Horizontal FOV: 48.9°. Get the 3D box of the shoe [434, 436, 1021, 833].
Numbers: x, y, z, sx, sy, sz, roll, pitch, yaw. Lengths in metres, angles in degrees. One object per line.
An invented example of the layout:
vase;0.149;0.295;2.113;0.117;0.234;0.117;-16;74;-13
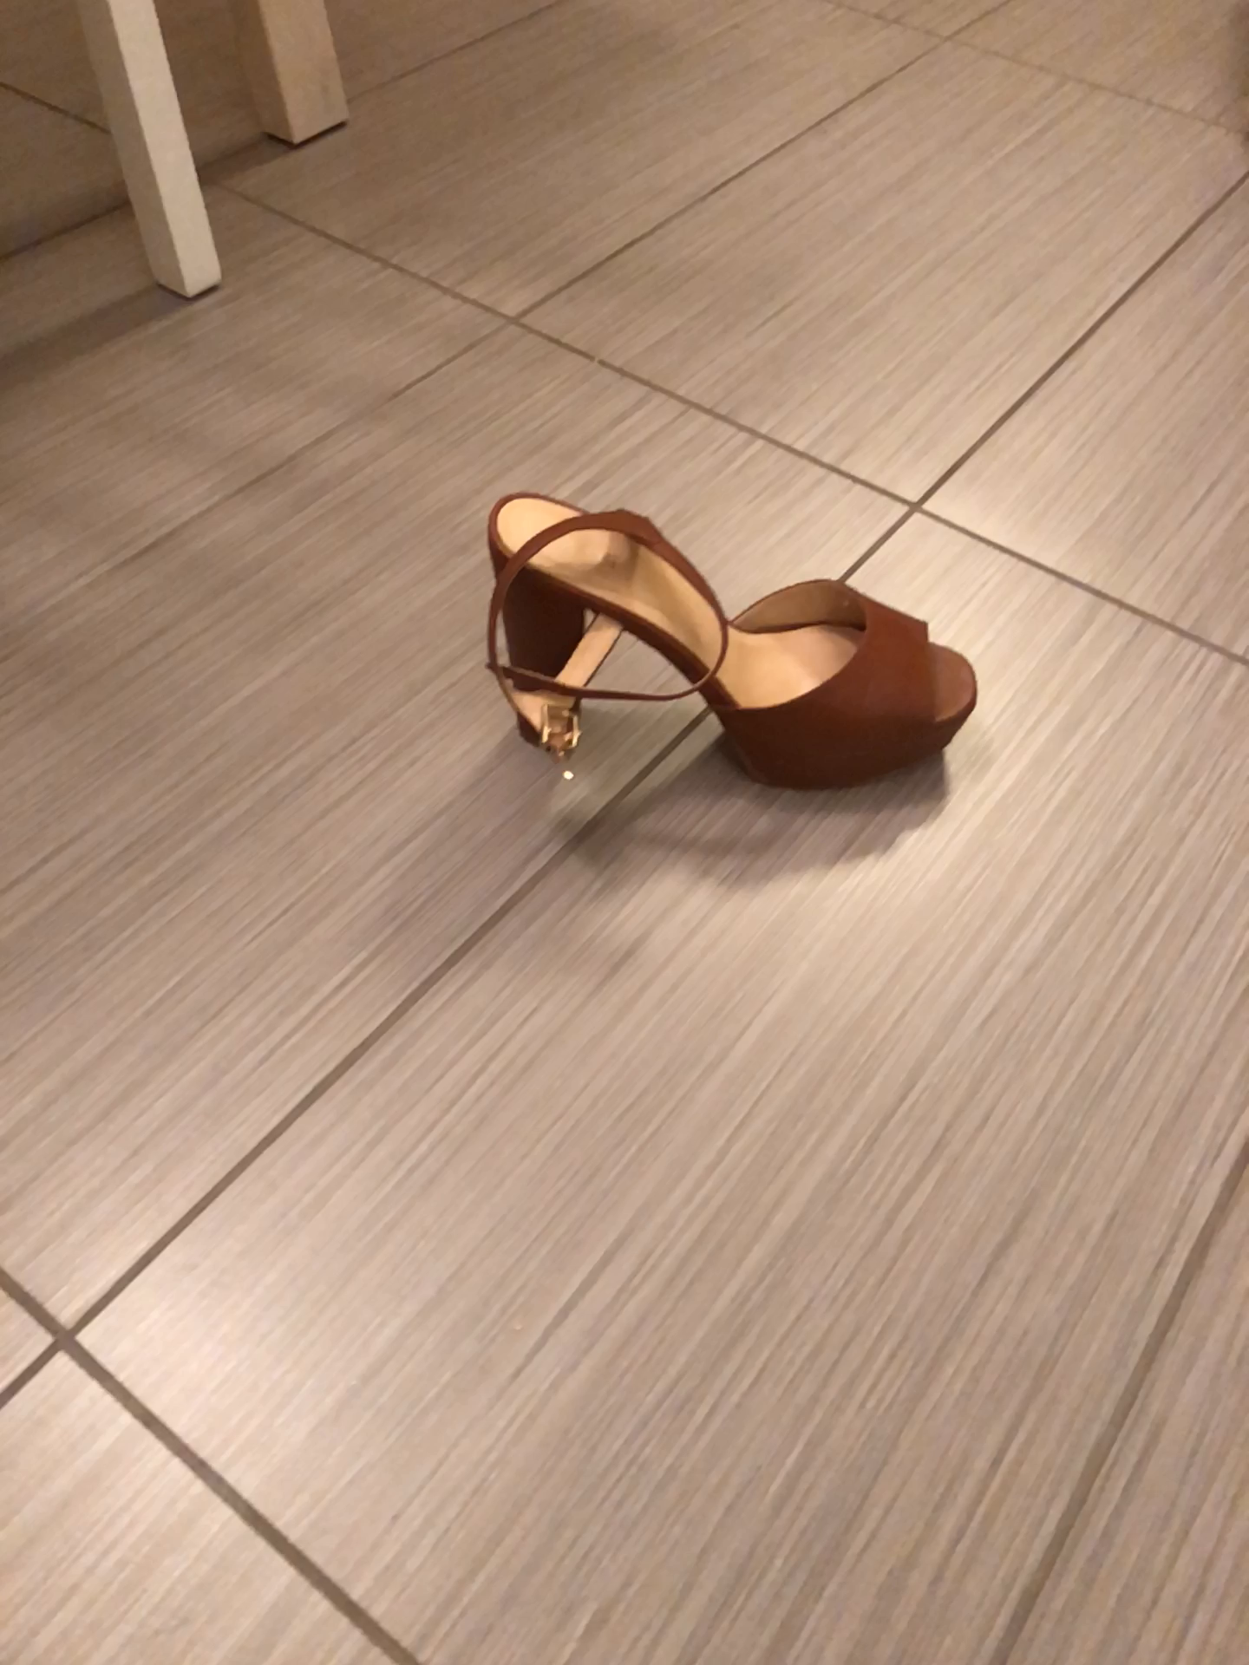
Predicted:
shoe;0.044;-0.090;0.627;0.240;0.090;0.111;10;51;-2
